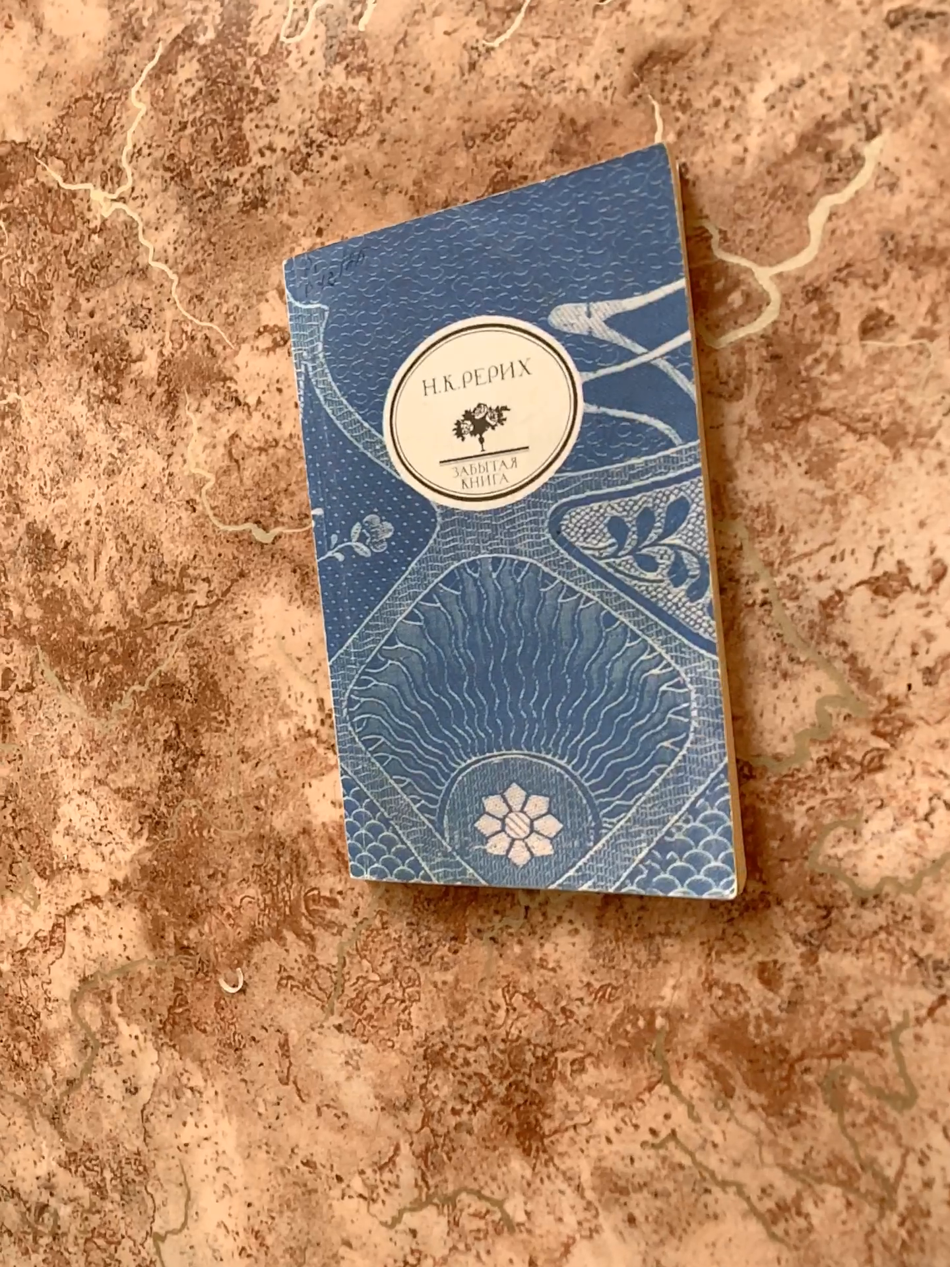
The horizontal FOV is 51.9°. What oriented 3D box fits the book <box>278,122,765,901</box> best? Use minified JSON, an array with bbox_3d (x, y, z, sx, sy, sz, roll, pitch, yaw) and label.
[{"bbox_3d":[0.009,-0.026,0.286,0.125,0.015,0.202,-6,92,25],"label":"book"}]
